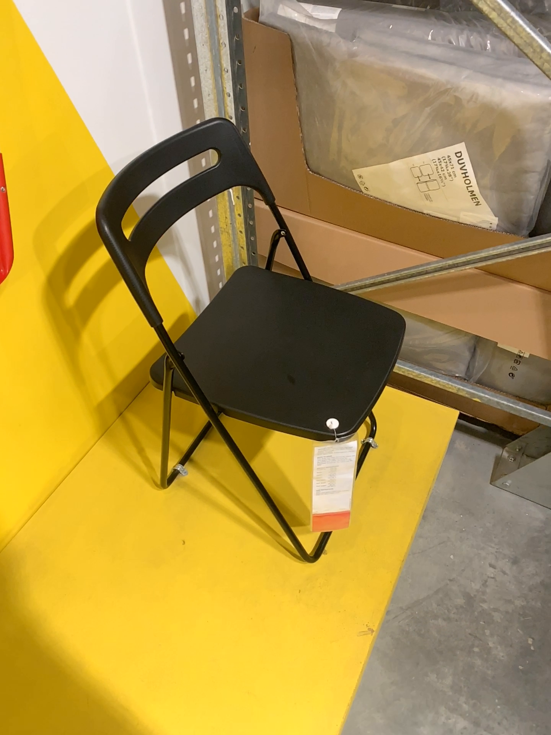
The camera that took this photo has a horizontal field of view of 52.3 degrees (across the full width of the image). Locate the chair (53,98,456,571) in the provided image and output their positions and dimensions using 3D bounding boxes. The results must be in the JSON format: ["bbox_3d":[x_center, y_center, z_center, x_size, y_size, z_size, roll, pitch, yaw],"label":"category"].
[{"bbox_3d":[0.002,-0.045,1.082,0.440,0.697,0.441,19,50,19],"label":"chair"}]
